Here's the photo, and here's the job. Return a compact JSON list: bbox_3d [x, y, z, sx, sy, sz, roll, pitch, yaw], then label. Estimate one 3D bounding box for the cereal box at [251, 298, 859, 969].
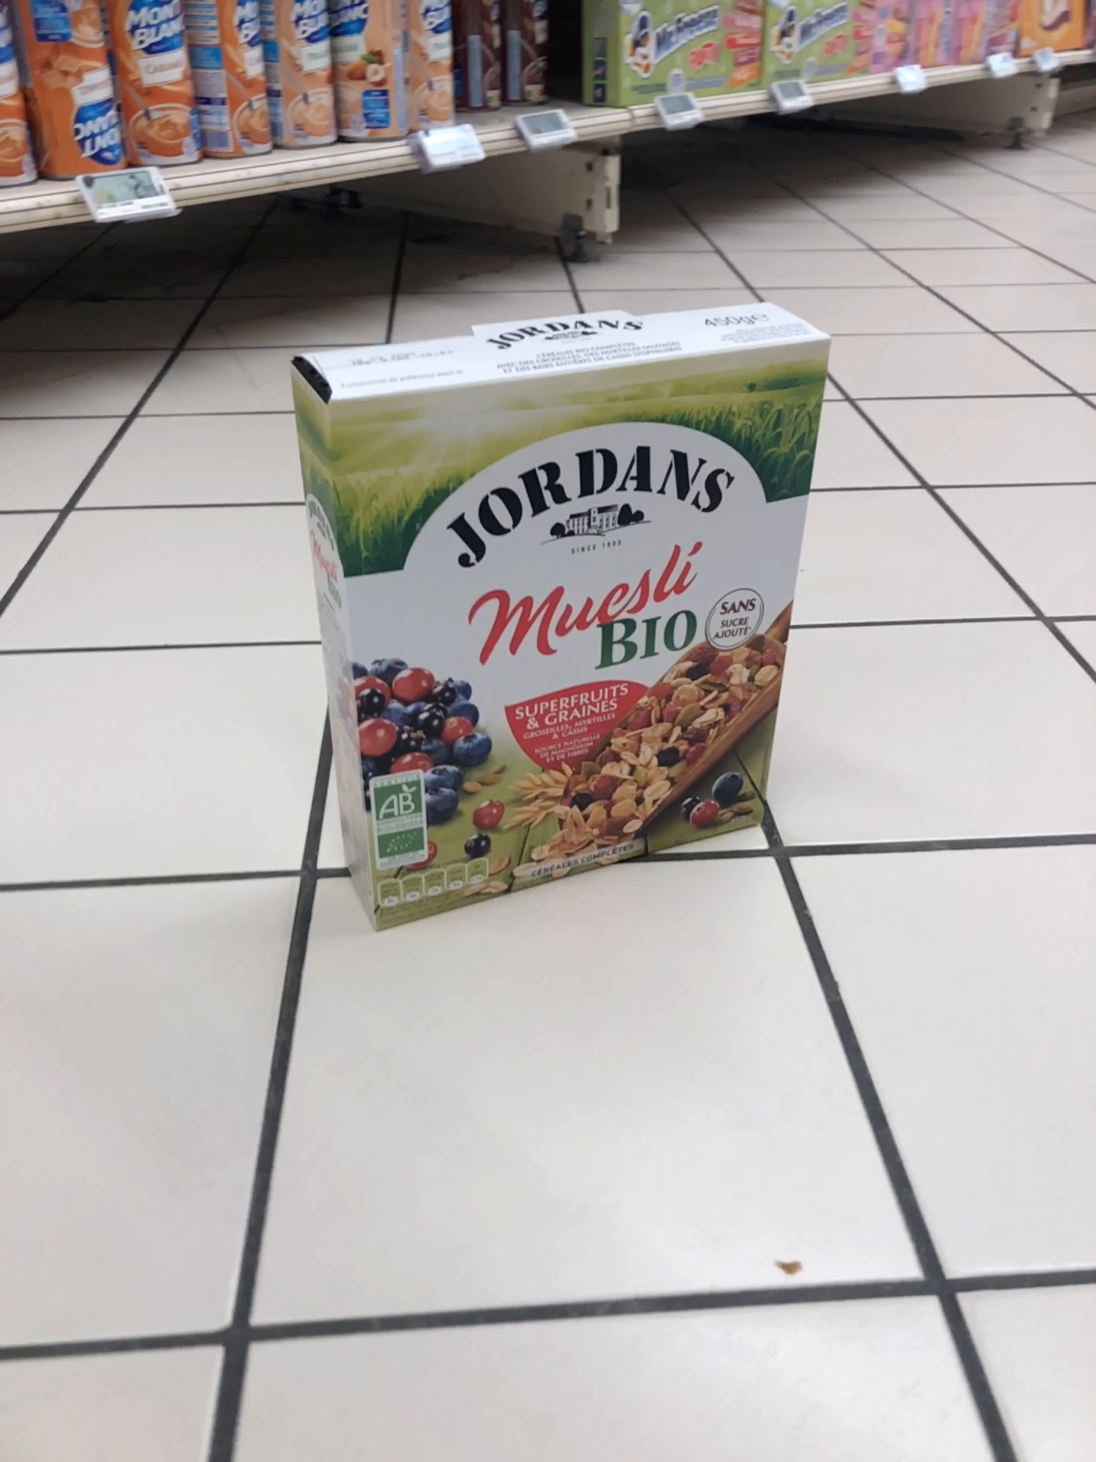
[{"bbox_3d":[0.002,-0.035,0.455,0.191,0.219,0.060,-13,38,-20],"label":"cereal box"}]
